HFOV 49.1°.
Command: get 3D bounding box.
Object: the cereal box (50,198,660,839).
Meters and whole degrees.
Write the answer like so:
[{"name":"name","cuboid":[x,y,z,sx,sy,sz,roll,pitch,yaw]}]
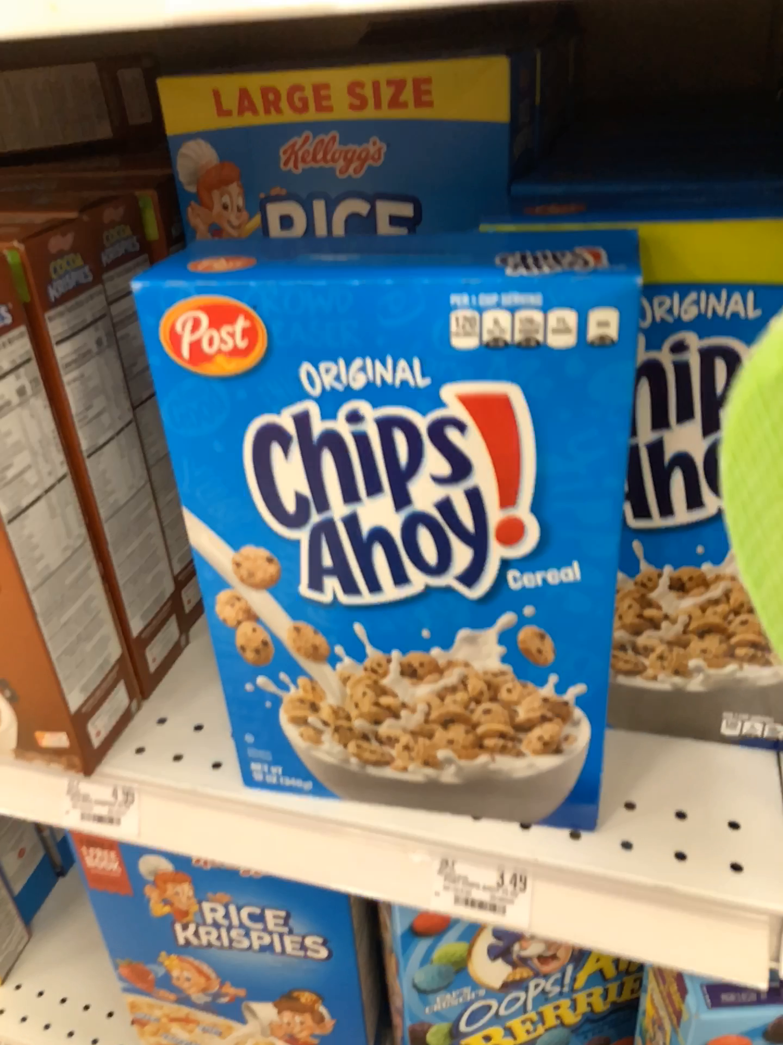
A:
[{"name":"cereal box","cuboid":[-0.001,0.007,0.373,0.200,0.259,0.080,3,33,13]}]
